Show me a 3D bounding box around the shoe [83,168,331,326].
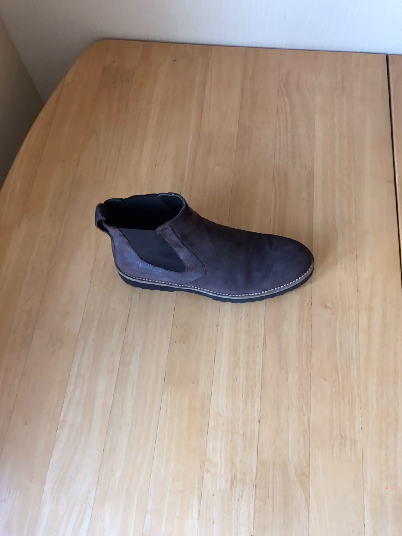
[{"bbox_3d":[0.011,-0.018,0.470,0.220,0.120,0.100,7,67,5],"label":"shoe"}]
